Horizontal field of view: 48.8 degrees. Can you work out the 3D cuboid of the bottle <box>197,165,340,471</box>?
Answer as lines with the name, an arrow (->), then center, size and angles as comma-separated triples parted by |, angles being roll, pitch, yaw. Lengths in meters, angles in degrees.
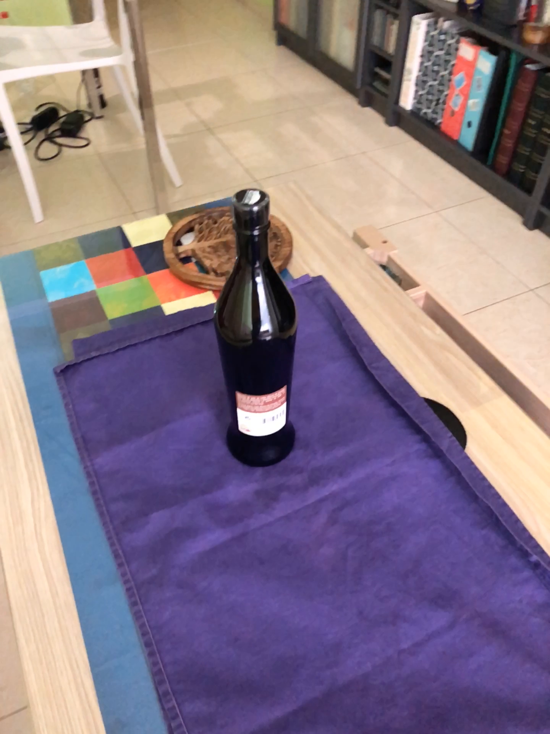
bottle -> -0.008, -0.030, 0.560 | 0.100, 0.279, 0.100 | 0, 46, 0
